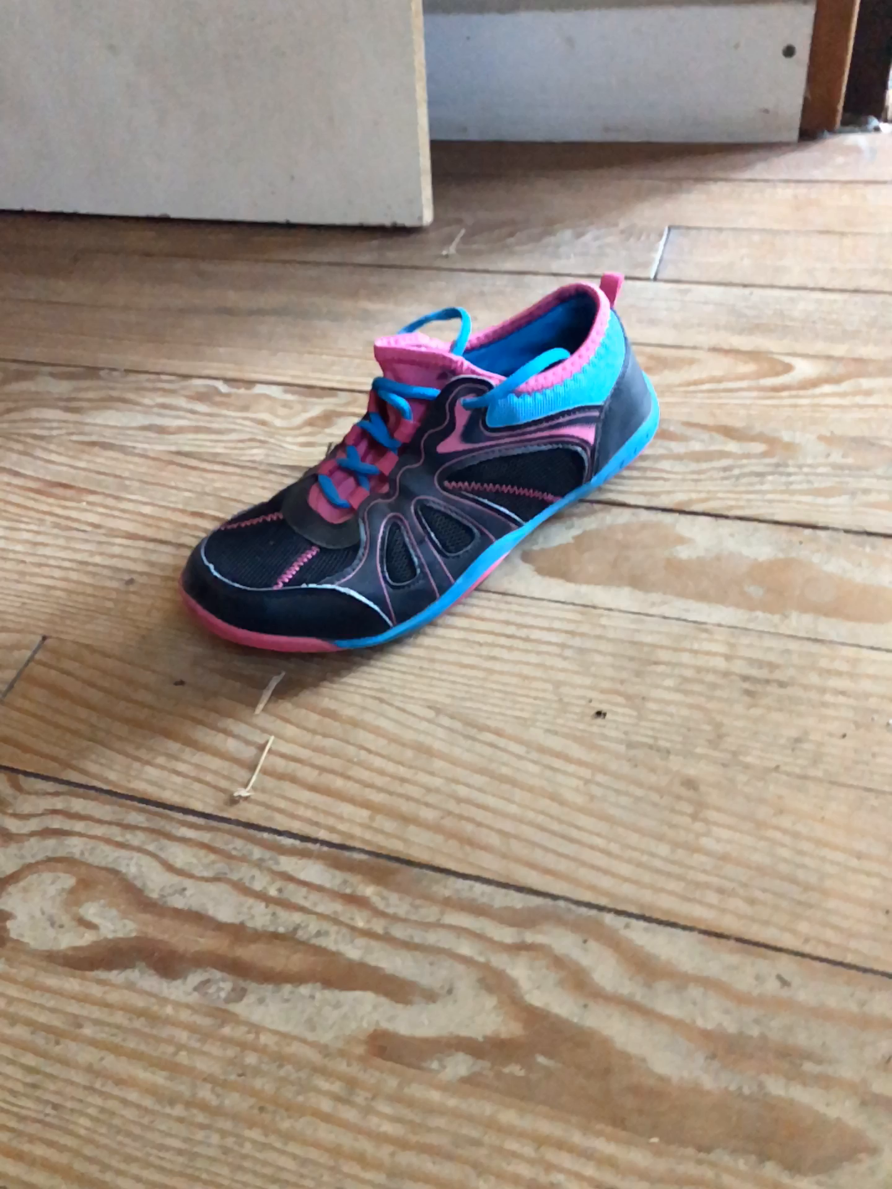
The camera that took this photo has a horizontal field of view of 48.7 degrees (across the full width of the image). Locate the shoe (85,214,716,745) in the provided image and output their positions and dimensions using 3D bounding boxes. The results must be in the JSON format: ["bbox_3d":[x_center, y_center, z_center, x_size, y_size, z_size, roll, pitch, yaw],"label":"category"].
[{"bbox_3d":[-0.010,-0.065,0.462,0.261,0.099,0.110,-33,52,-21],"label":"shoe"}]
